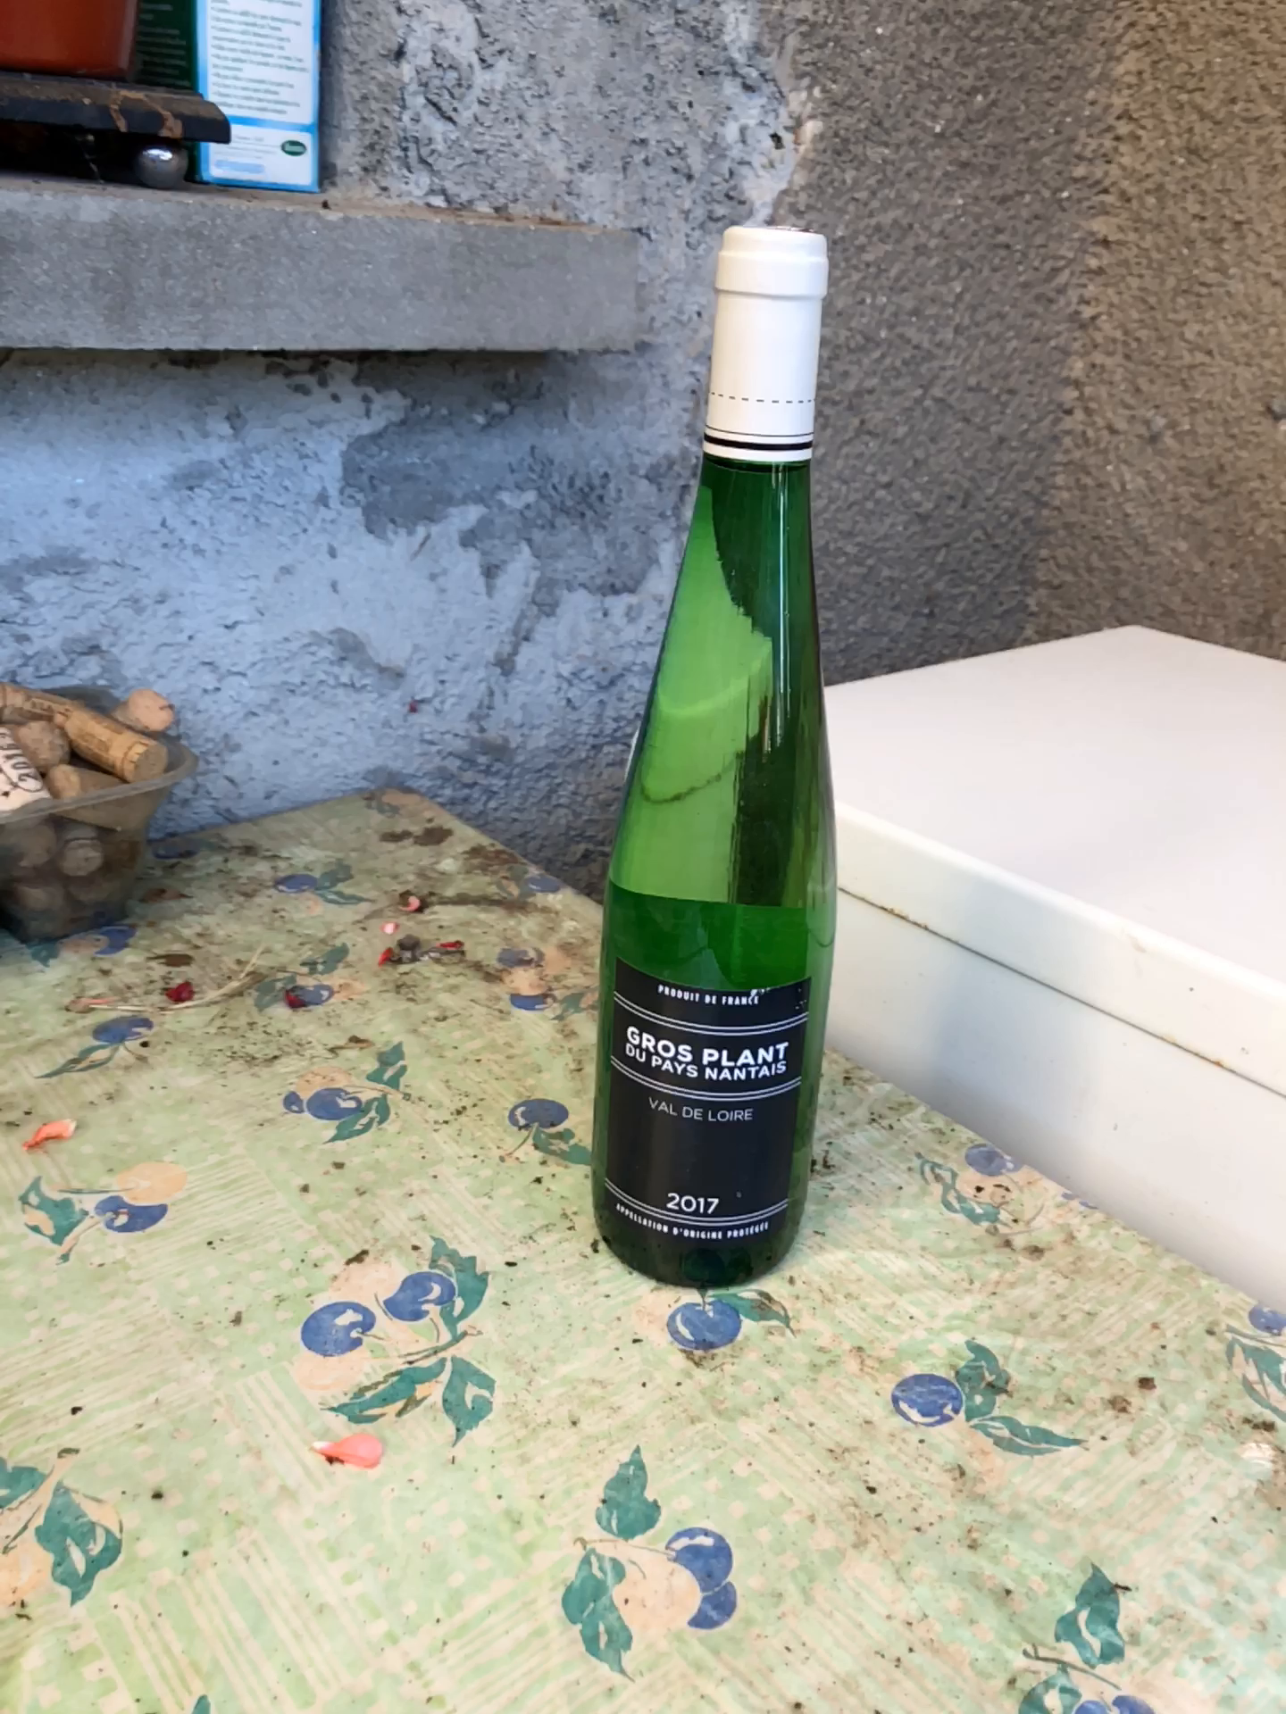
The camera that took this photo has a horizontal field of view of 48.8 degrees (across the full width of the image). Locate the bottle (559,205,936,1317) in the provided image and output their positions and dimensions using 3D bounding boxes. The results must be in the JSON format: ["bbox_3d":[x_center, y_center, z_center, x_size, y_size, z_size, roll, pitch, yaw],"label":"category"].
[{"bbox_3d":[0.027,-0.019,0.454,0.080,0.338,0.080,3,23,-1],"label":"bottle"}]
